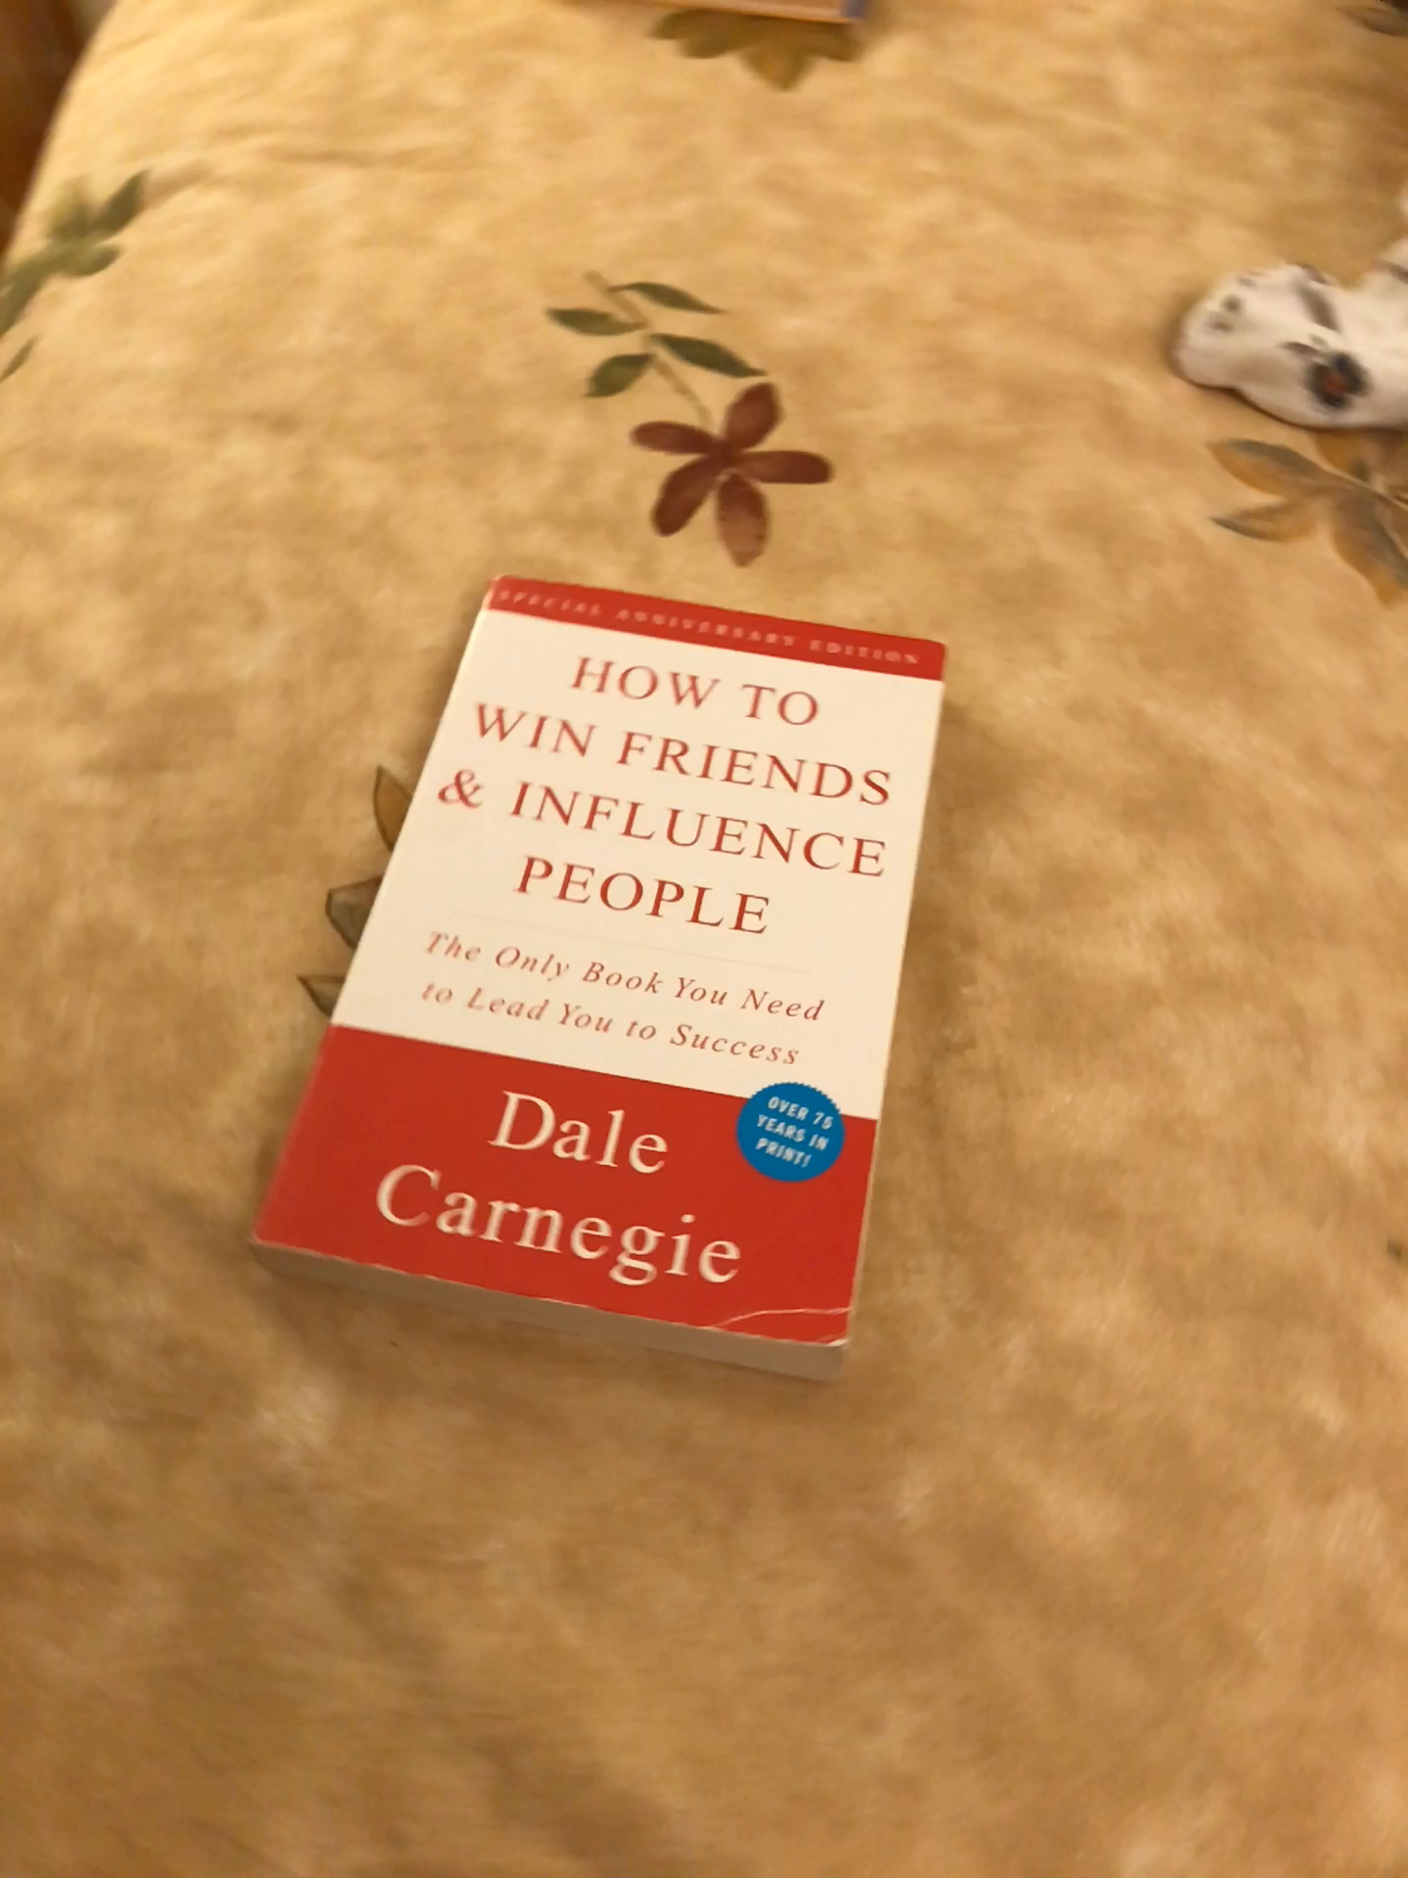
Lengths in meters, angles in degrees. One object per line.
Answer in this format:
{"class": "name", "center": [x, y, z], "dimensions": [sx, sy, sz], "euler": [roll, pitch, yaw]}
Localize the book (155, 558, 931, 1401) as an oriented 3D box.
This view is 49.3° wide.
{"class": "book", "center": [-0.029, -0.005, 0.402], "dimensions": [0.150, 0.020, 0.221], "euler": [9, 58, 6]}
